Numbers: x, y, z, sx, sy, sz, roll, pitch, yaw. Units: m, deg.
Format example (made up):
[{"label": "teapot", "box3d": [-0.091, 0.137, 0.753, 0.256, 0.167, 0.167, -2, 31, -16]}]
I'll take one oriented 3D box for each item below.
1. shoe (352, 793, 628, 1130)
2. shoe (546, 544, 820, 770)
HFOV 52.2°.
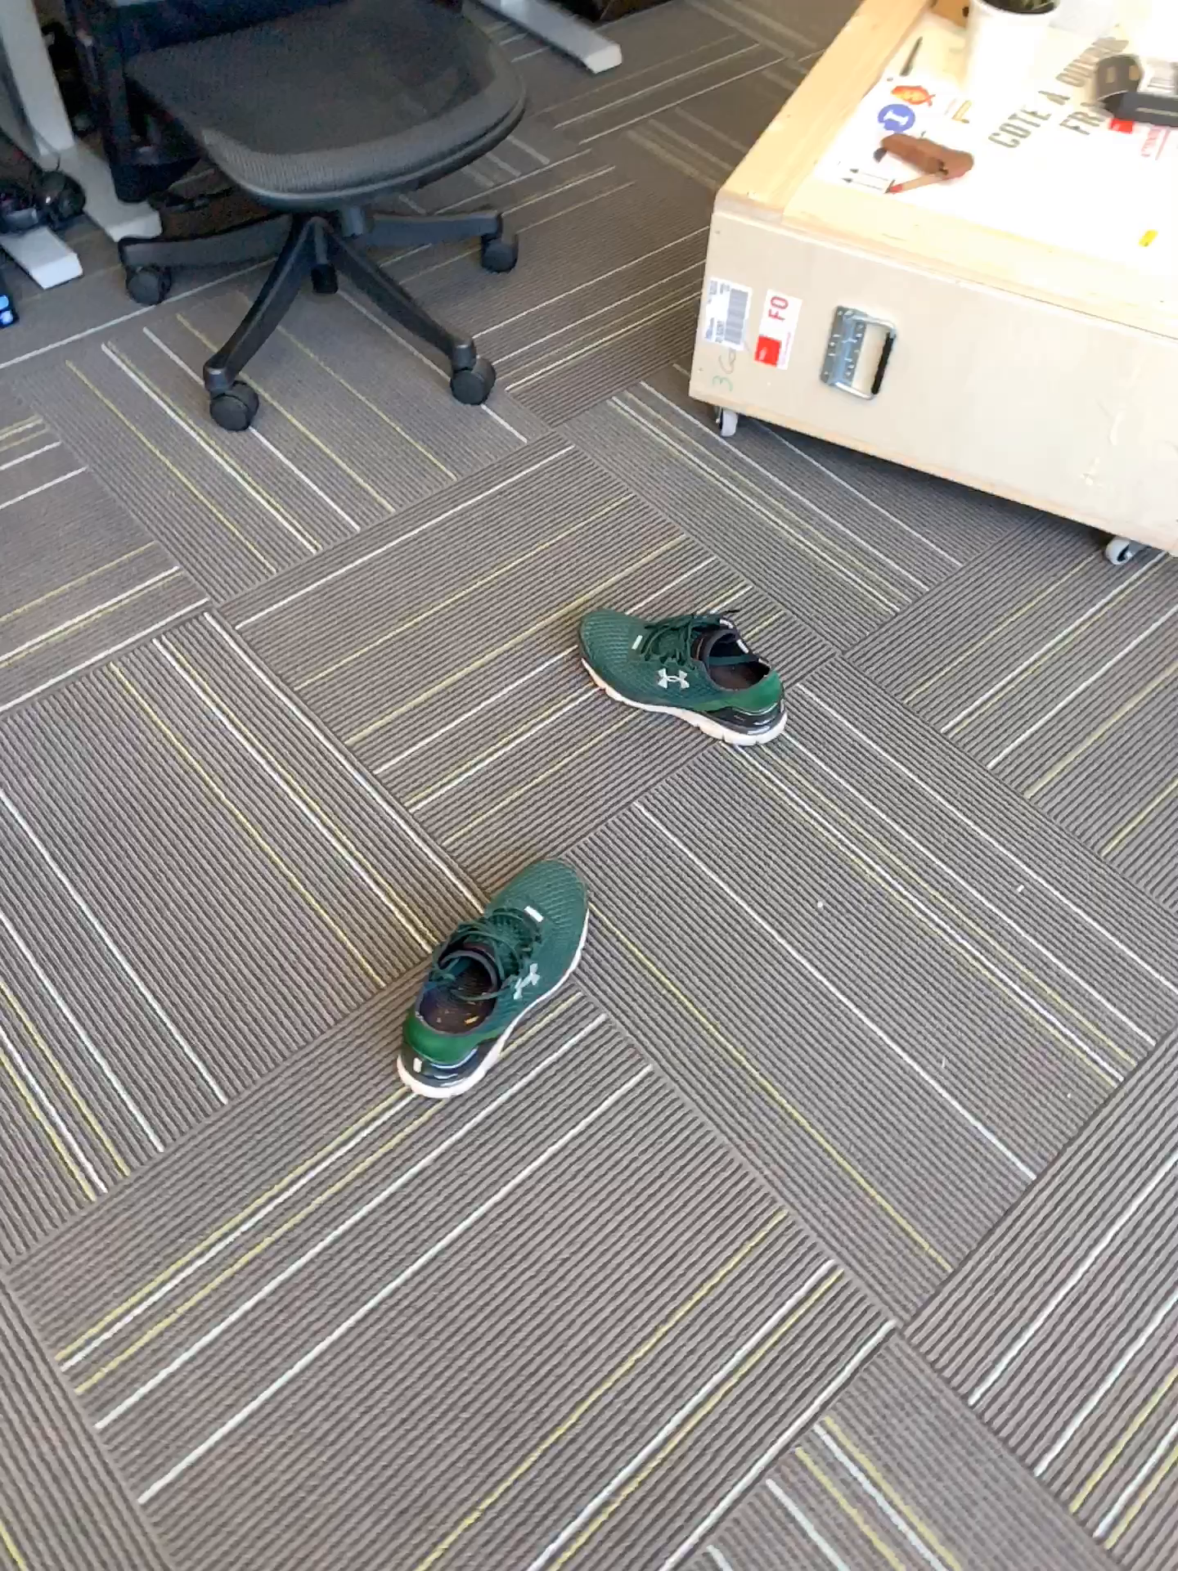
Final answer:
[{"label": "shoe", "box3d": [-0.097, 0.181, 1.280, 0.130, 0.129, 0.311, 28, 58, 15]}, {"label": "shoe", "box3d": [0.114, -0.165, 1.530, 0.311, 0.129, 0.130, 24, 57, 13]}]
